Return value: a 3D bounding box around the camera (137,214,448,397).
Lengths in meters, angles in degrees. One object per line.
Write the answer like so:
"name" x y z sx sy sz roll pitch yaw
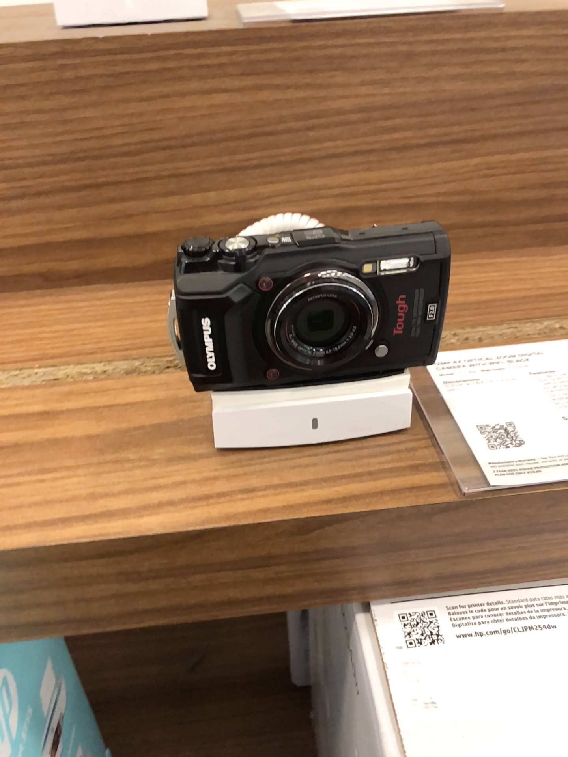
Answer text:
"camera" 0.004 -0.031 0.271 0.120 0.060 0.030 -6 33 -4
